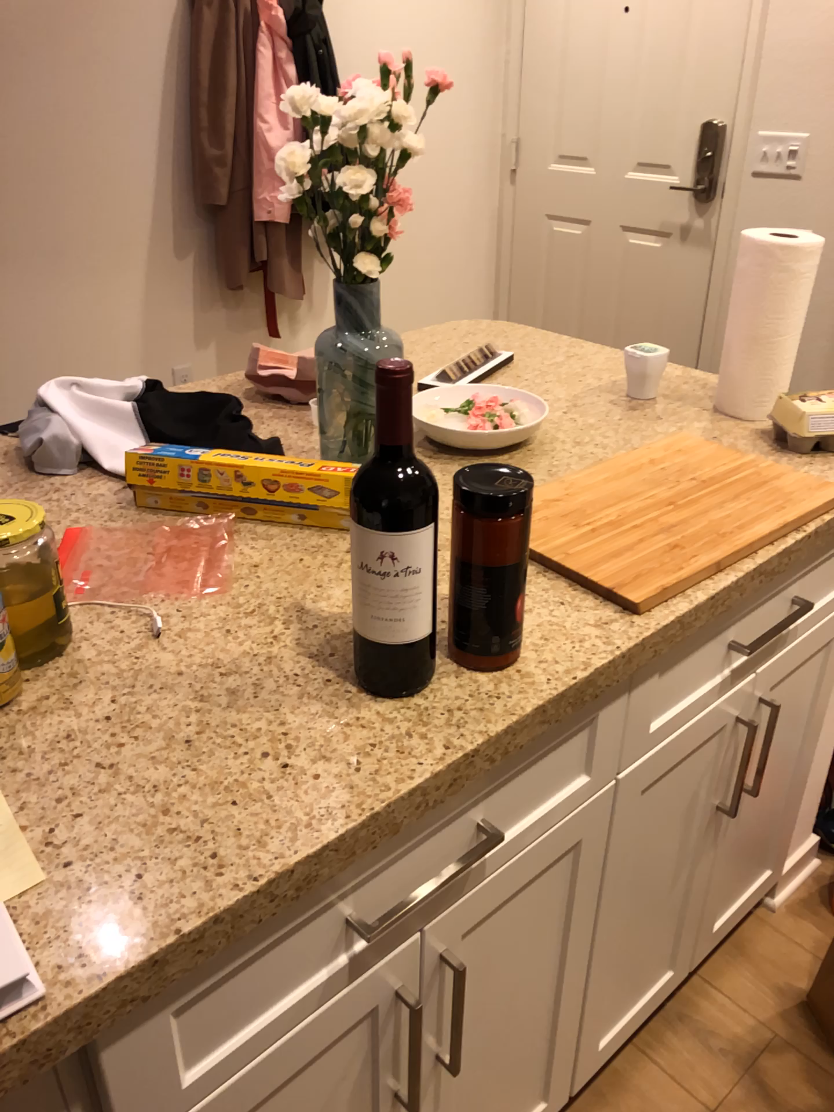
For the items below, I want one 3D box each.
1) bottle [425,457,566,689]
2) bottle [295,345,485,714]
[{"bbox_3d":[0.071,0.014,0.862,0.090,0.179,0.090,0,28,0],"label":"bottle"},{"bbox_3d":[-0.020,-0.023,0.788,0.110,0.278,0.111,0,28,0],"label":"bottle"}]
